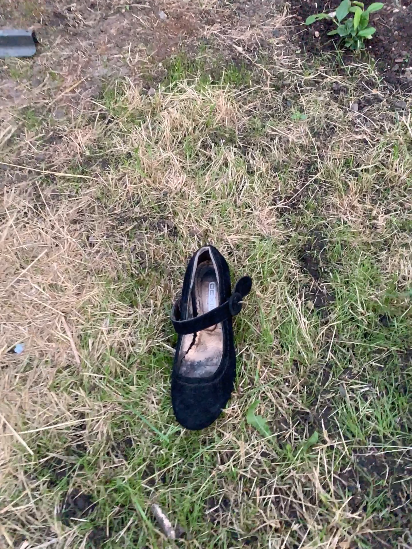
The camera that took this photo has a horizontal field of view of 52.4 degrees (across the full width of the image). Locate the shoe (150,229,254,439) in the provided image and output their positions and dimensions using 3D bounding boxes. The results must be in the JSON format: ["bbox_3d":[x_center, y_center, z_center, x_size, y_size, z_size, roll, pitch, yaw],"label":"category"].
[{"bbox_3d":[0.005,0.073,0.561,0.110,0.109,0.252,2,56,4],"label":"shoe"}]
